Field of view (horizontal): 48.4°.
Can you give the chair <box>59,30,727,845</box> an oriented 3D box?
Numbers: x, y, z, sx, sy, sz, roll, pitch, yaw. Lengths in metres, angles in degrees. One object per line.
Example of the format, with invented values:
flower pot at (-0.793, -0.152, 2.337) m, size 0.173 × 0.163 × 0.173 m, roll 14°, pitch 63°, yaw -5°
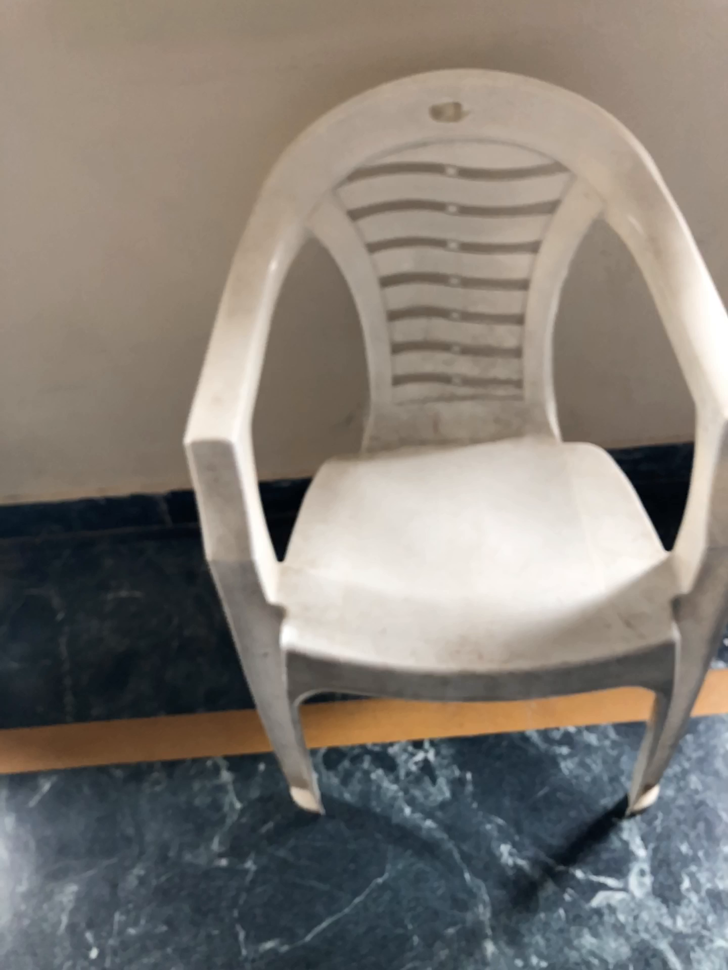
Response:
chair at (0.110, -0.034, 1.034) m, size 0.580 × 0.775 × 0.624 m, roll -5°, pitch 43°, yaw 3°
